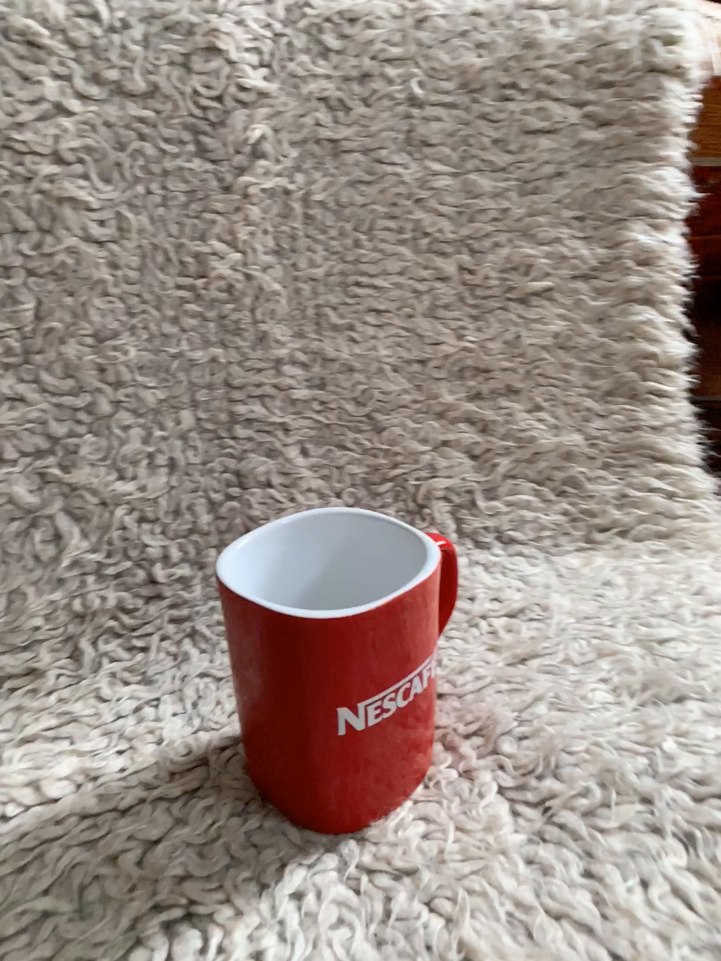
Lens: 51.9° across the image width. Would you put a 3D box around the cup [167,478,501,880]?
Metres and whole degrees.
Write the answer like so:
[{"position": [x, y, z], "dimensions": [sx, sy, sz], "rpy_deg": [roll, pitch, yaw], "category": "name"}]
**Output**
[{"position": [-0.006, 0.080, 0.346], "dimensions": [0.088, 0.110, 0.122], "rpy_deg": [17, 29, 38], "category": "cup"}]
